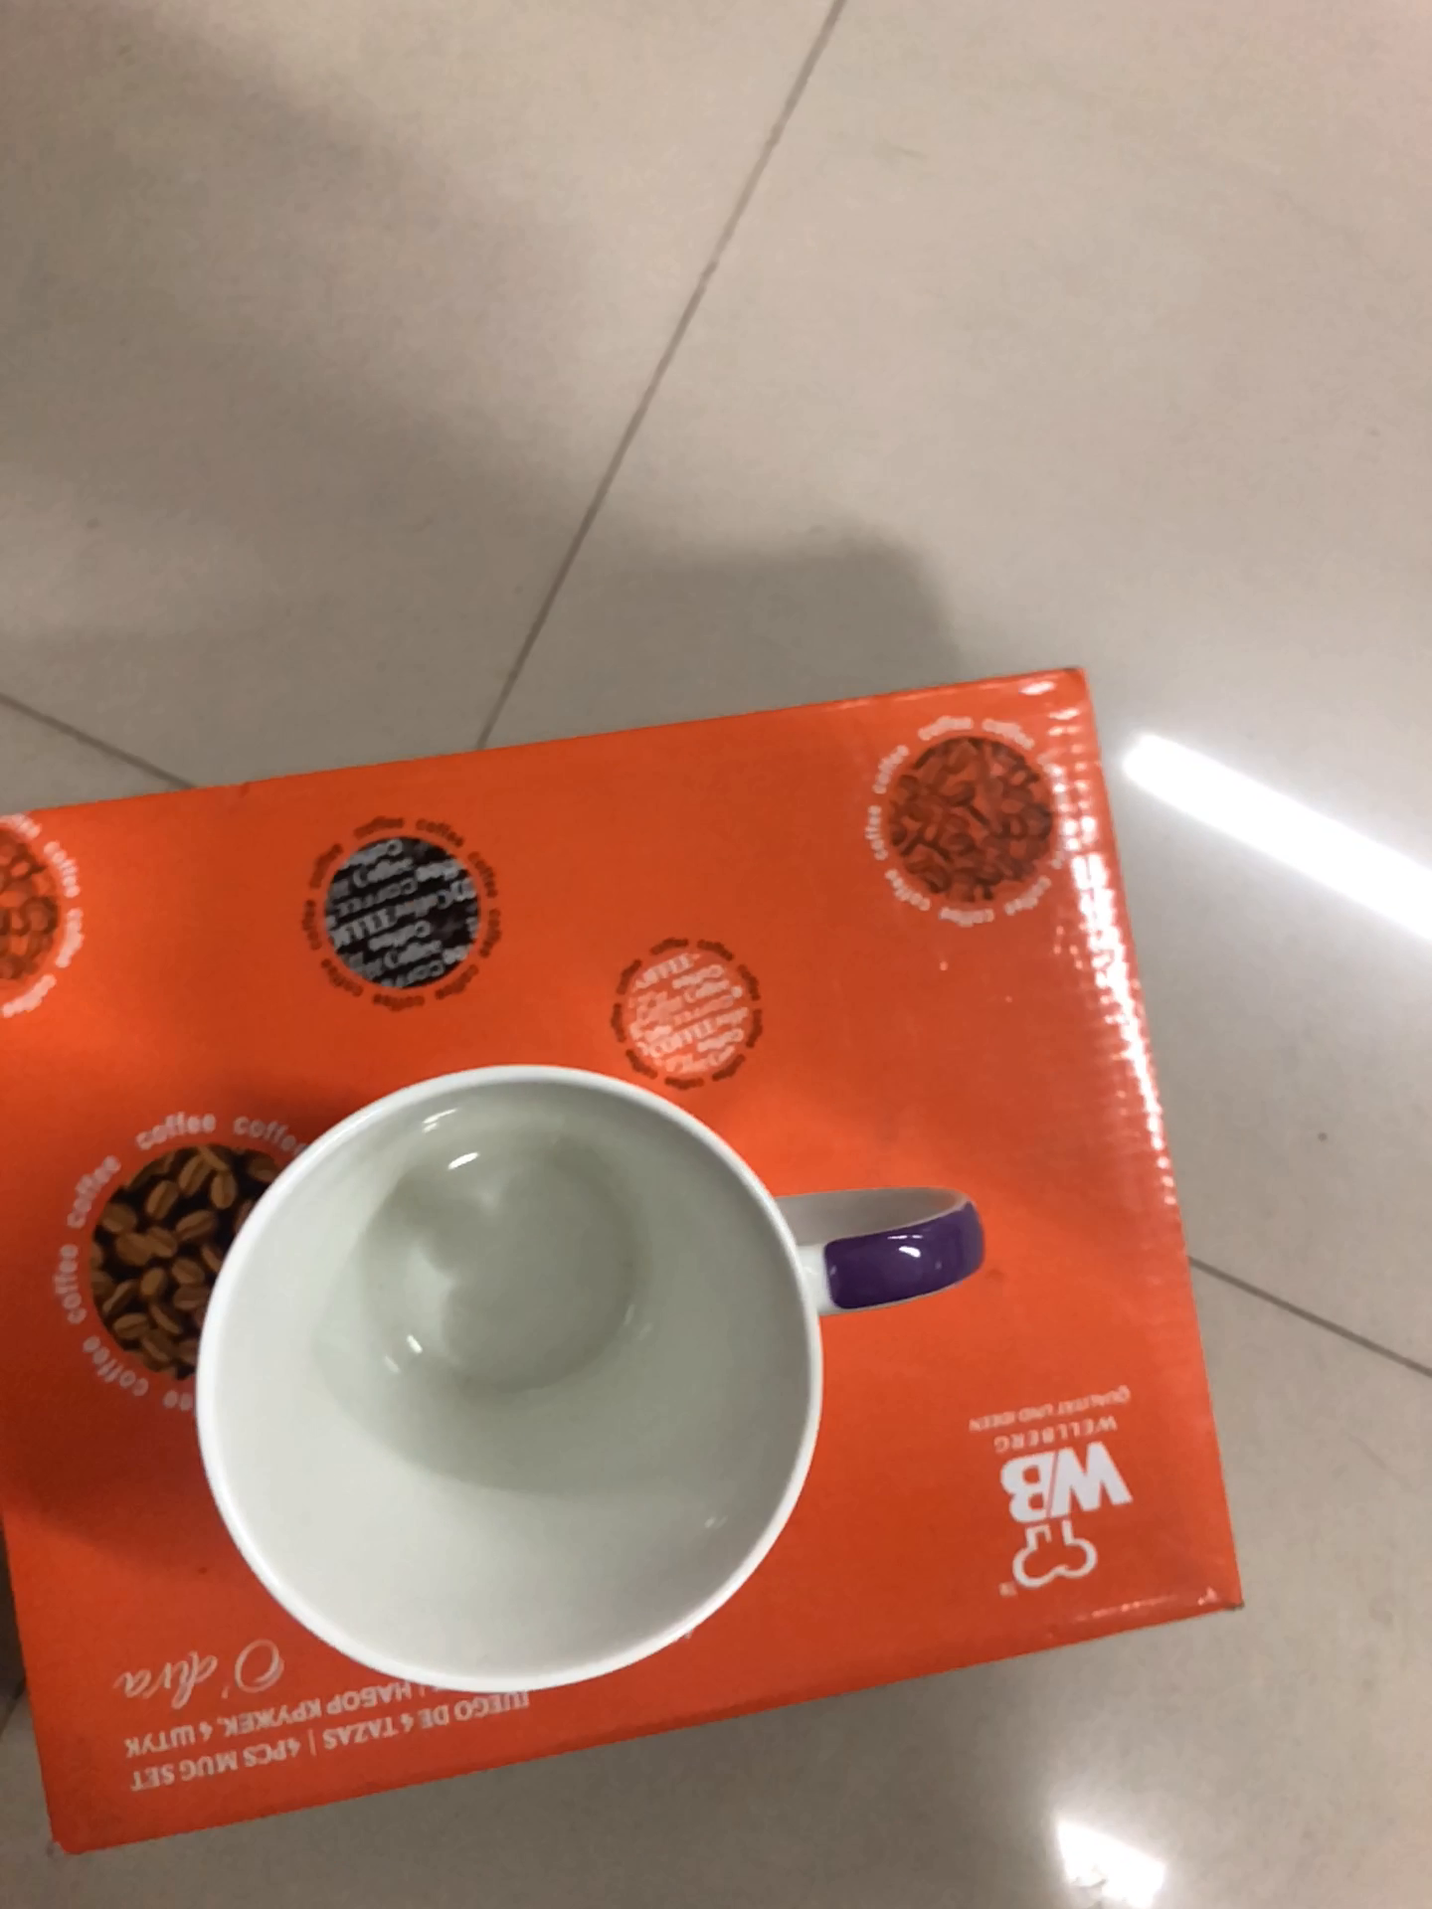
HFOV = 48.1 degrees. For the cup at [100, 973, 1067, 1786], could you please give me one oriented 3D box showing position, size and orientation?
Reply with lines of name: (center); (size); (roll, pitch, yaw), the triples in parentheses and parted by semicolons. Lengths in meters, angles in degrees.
cup: (-0.021, 0.054, 0.257); (0.110, 0.100, 0.080); (-13, 91, -7)
